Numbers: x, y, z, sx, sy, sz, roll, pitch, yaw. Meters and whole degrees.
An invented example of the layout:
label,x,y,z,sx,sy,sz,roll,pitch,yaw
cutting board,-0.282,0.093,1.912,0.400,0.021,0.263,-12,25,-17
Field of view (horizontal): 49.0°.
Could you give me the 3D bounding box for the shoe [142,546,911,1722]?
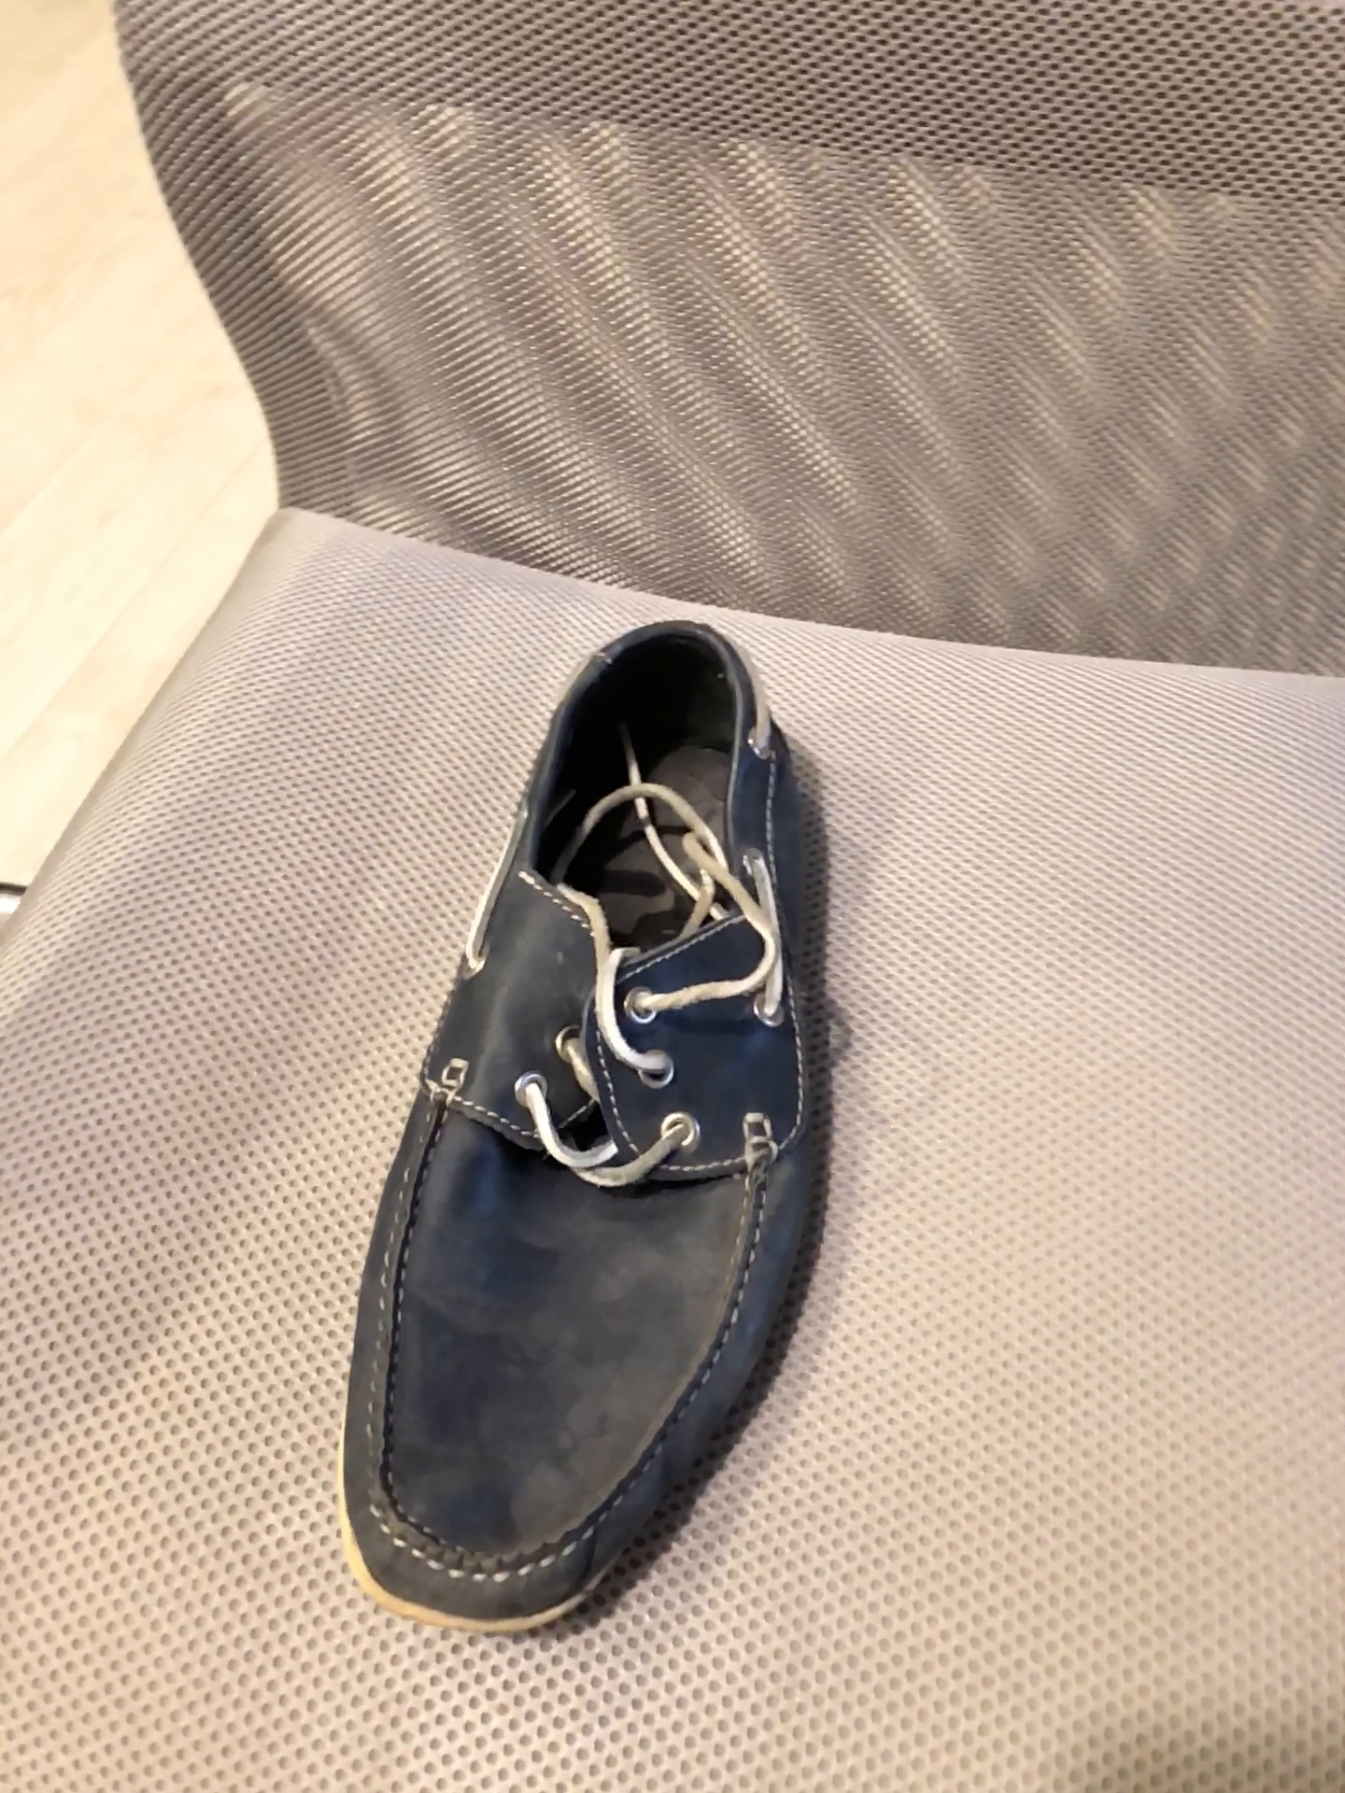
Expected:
label,x,y,z,sx,sy,sz,roll,pitch,yaw
shoe,-0.017,0.048,0.411,0.120,0.099,0.291,9,57,8
